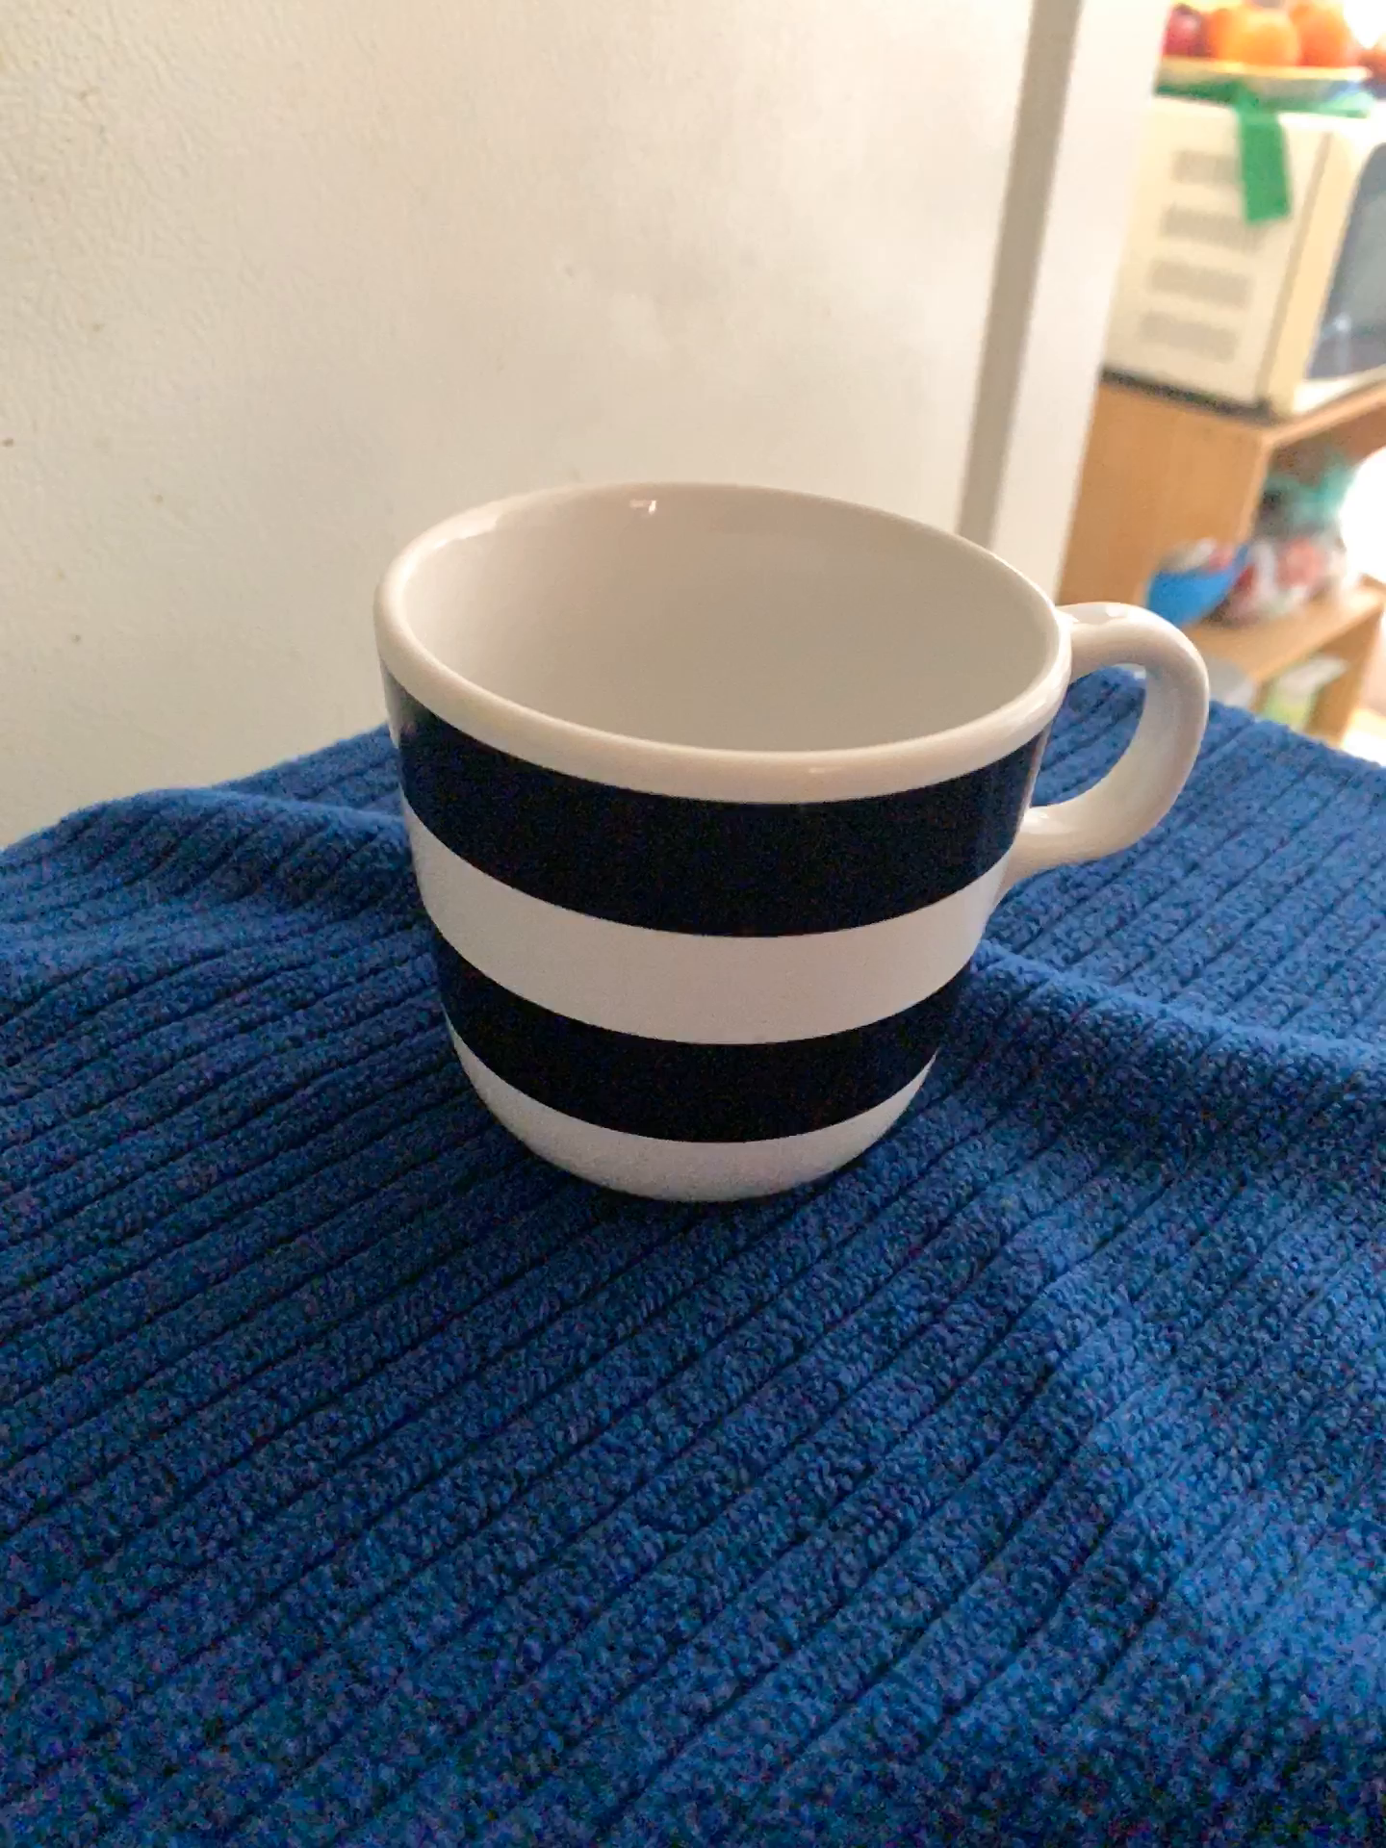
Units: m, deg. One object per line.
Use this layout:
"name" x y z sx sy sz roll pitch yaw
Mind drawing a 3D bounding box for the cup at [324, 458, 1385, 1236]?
"cup" 0.012 -0.018 0.197 0.113 0.057 0.085 -6 38 -12
